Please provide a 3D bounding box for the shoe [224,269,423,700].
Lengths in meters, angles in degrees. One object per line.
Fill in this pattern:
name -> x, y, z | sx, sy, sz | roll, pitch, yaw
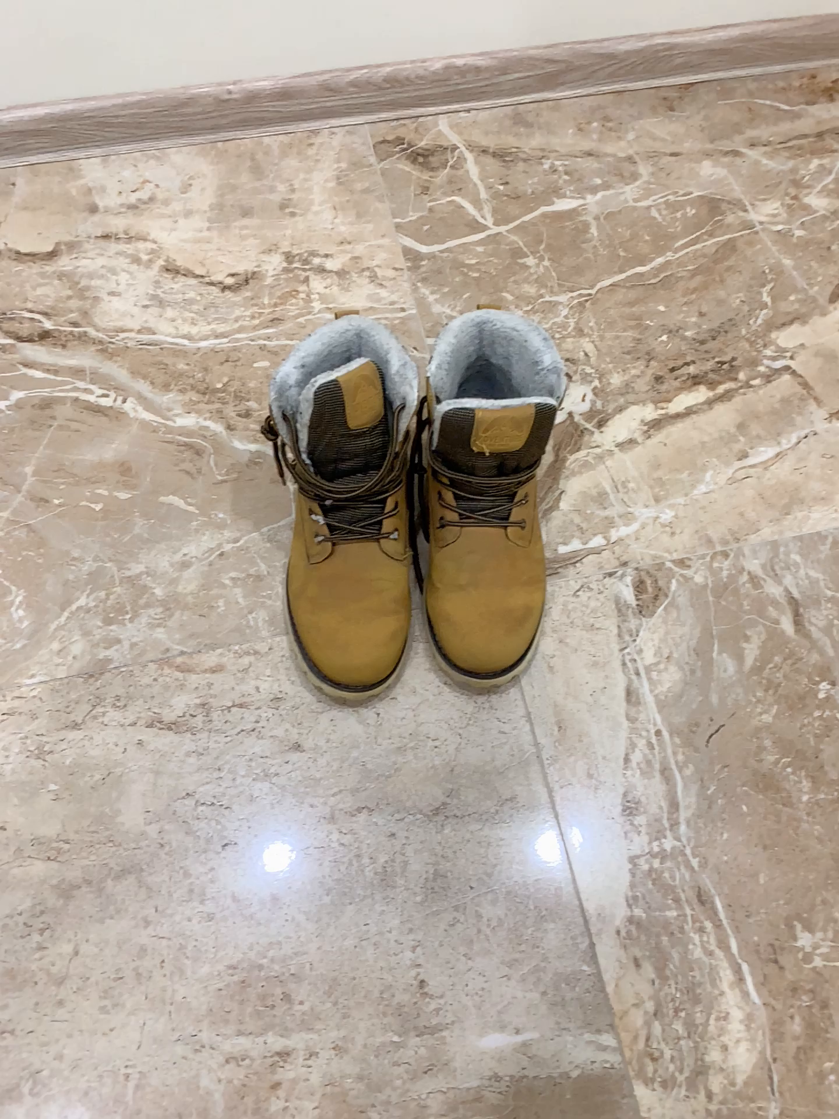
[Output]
shoe -> -0.062, -0.052, 0.650 | 0.120, 0.160, 0.281 | 1, 66, -2

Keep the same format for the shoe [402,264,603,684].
shoe -> 0.050, -0.062, 0.648 | 0.120, 0.140, 0.281 | 1, 66, -2
